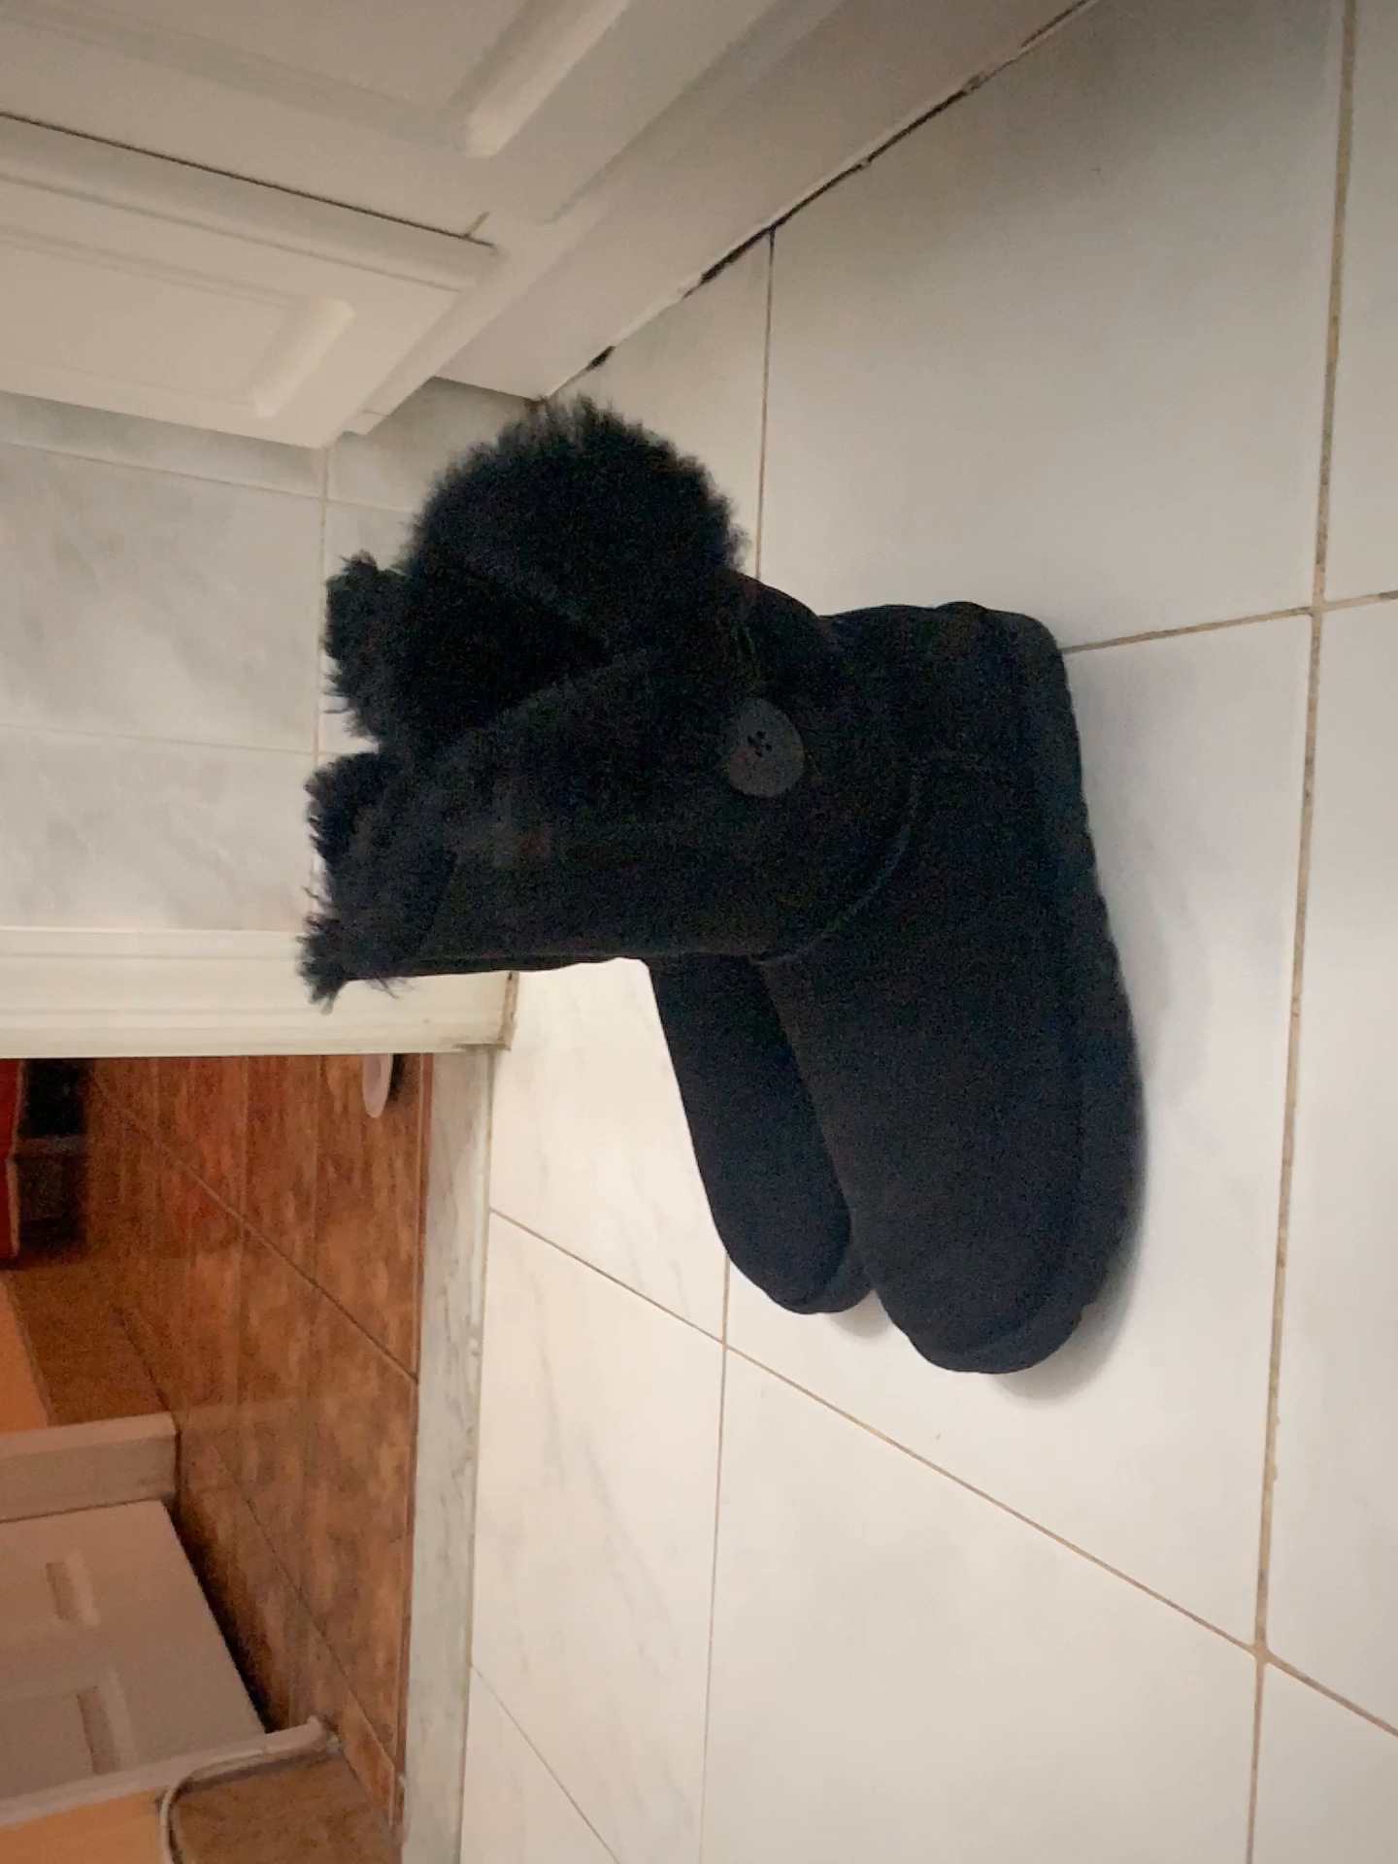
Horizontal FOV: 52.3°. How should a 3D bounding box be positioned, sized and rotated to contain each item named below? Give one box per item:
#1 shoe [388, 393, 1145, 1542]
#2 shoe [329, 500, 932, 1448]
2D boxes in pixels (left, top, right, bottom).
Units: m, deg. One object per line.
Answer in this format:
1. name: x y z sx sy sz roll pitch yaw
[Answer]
1. shoe: 0.016 0.011 0.439 0.111 0.189 0.280 -14 77 60
2. shoe: -0.032 0.017 0.524 0.121 0.169 0.290 -18 73 59
